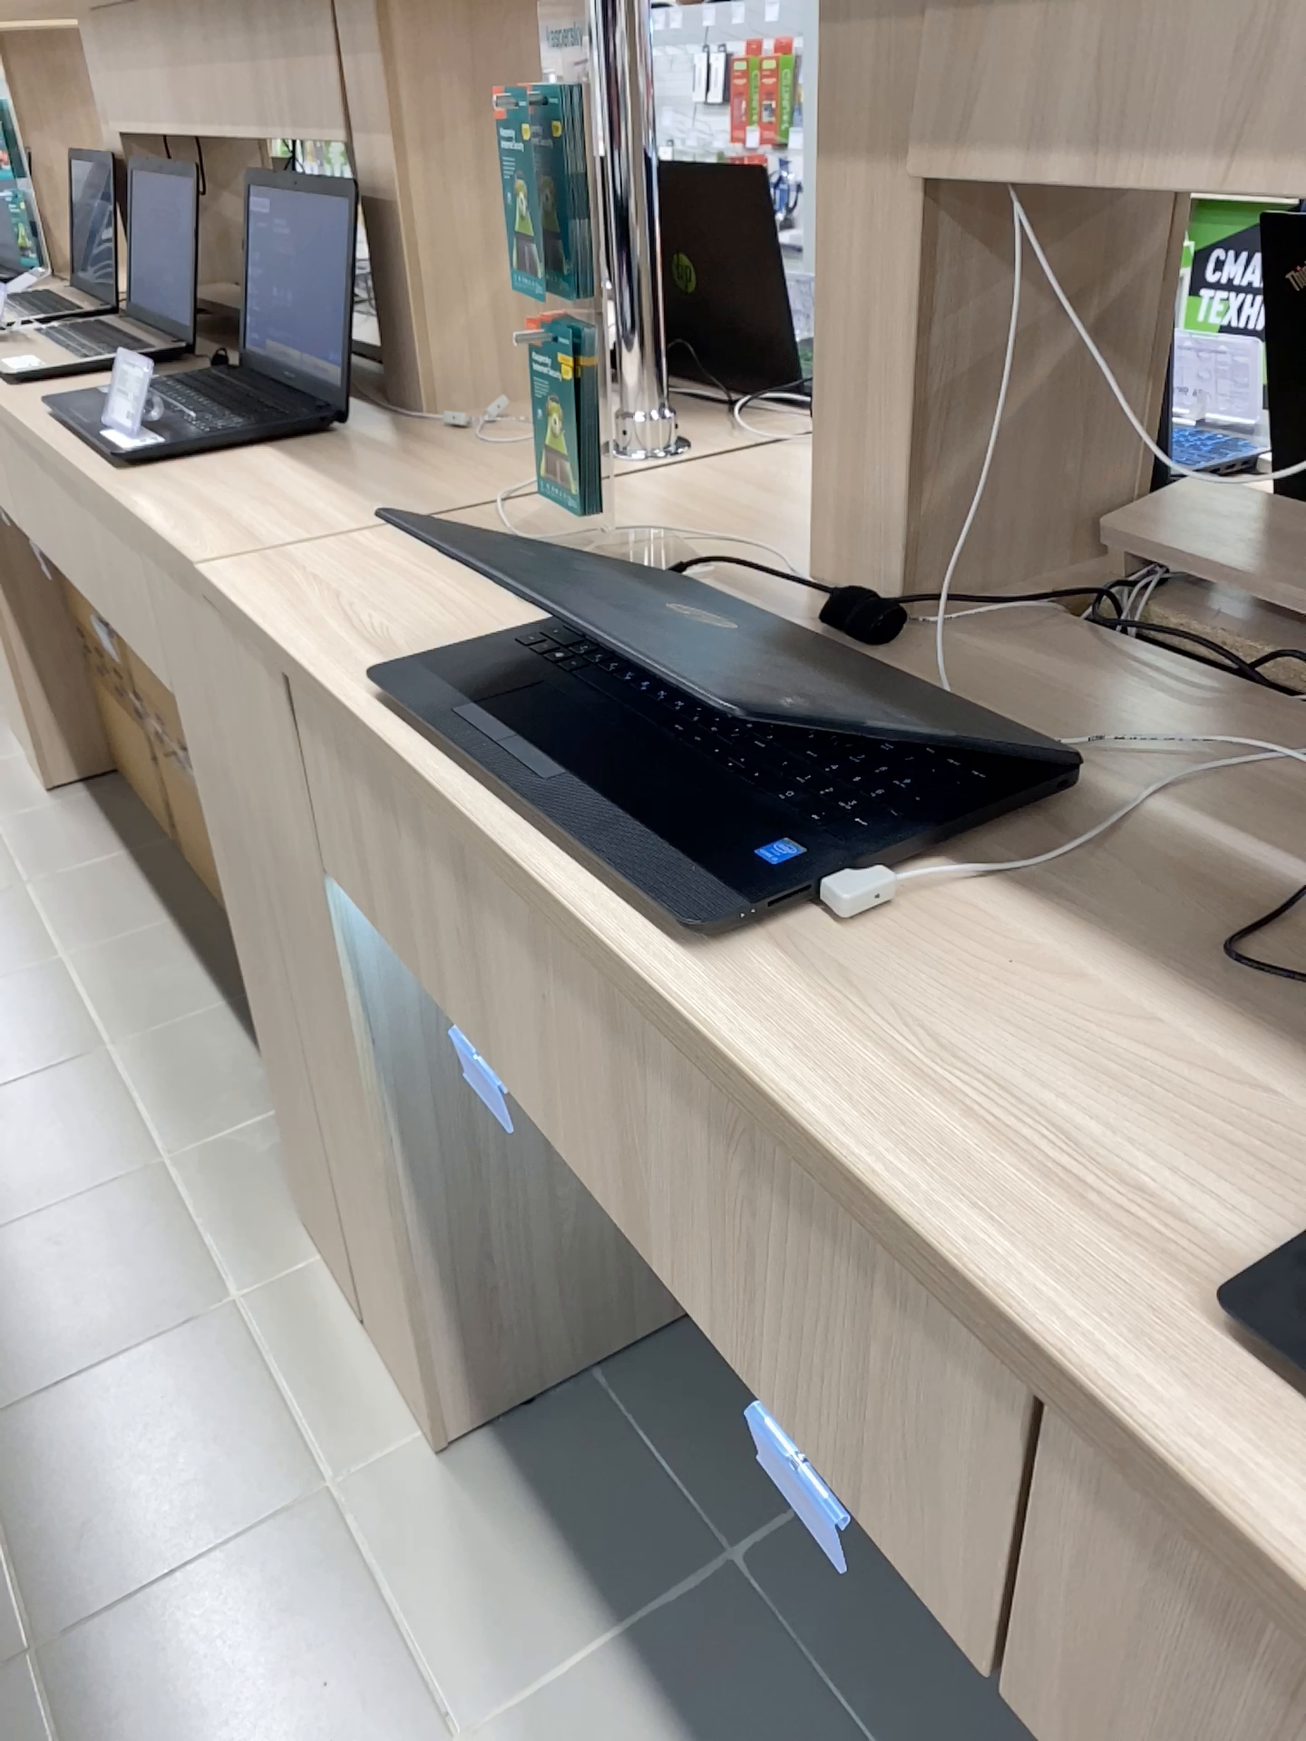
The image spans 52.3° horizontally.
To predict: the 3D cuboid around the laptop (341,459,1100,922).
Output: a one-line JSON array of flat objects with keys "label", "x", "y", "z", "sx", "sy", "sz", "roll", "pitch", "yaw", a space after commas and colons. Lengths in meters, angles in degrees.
[{"label": "laptop", "x": 0.017, "y": -0.133, "z": 0.763, "sx": 0.251, "sy": 0.093, "sz": 0.374, "roll": -21, "pitch": 35, "yaw": -27}]
